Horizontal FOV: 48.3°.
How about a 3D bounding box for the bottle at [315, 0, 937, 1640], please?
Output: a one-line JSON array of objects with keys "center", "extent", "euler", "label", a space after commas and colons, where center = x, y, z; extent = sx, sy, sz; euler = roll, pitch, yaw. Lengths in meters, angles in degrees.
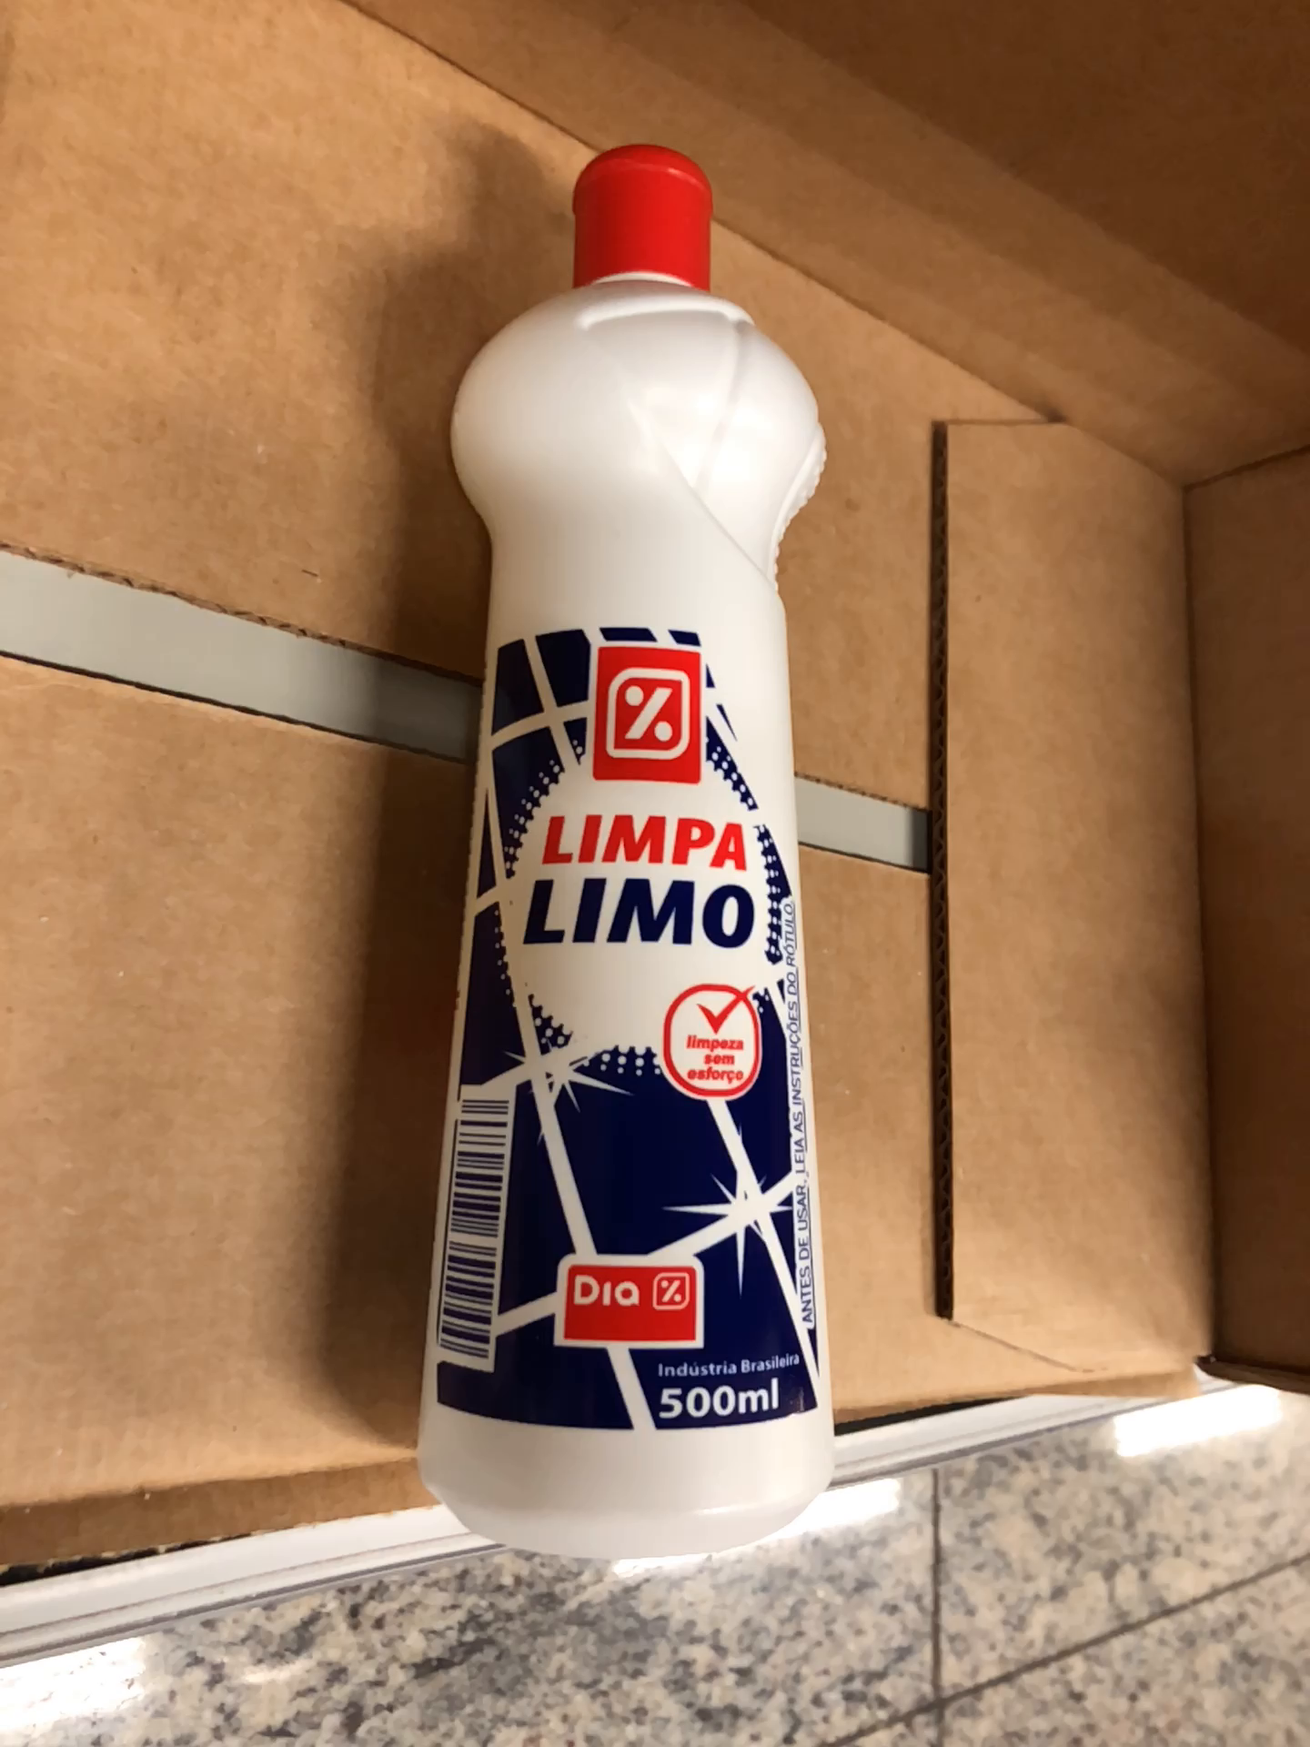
[{"center": [-0.001, -0.025, 0.250], "extent": [0.081, 0.060, 0.260], "euler": [7, 81, -41], "label": "bottle"}]
